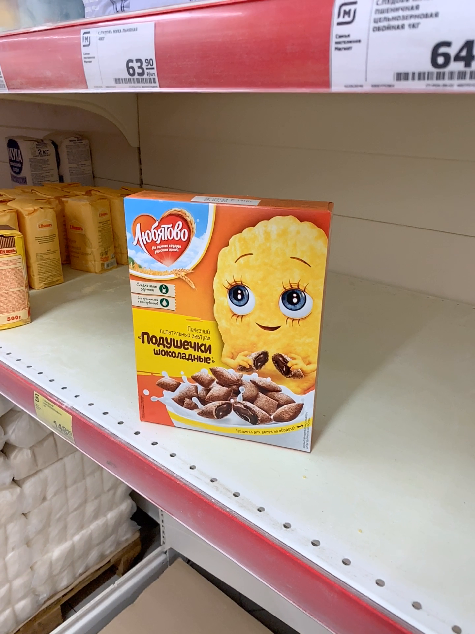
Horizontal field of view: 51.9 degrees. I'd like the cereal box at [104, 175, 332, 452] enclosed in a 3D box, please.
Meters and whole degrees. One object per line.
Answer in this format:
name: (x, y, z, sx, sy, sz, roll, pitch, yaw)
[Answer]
cereal box: (-0.017, -0.004, 0.442, 0.180, 0.228, 0.050, 7, 23, 14)
